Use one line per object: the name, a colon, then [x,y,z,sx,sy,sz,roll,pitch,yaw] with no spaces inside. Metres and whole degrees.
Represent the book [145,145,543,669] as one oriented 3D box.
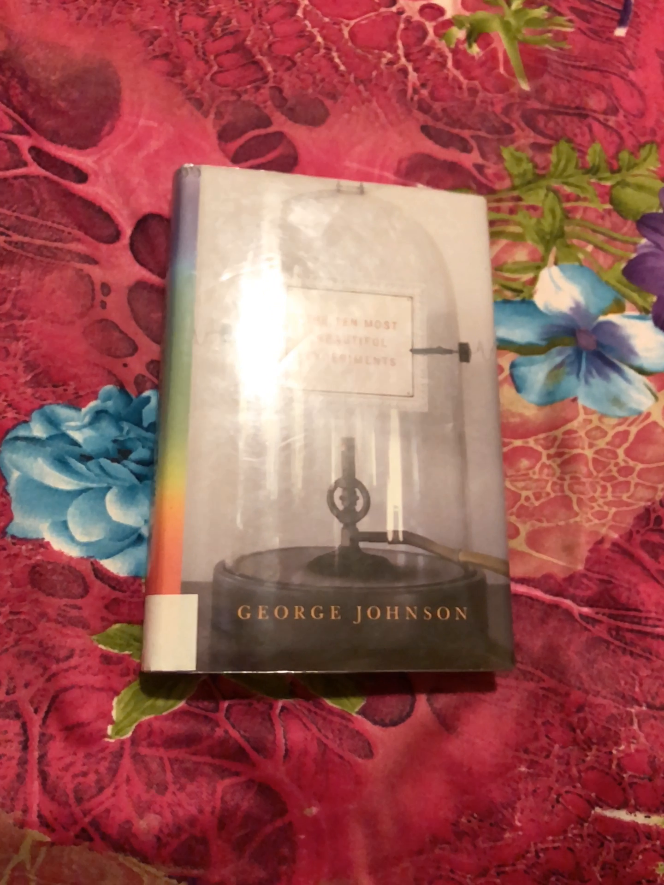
book: [0.003,-0.016,0.296,0.140,0.030,0.200,2,75,-10]
